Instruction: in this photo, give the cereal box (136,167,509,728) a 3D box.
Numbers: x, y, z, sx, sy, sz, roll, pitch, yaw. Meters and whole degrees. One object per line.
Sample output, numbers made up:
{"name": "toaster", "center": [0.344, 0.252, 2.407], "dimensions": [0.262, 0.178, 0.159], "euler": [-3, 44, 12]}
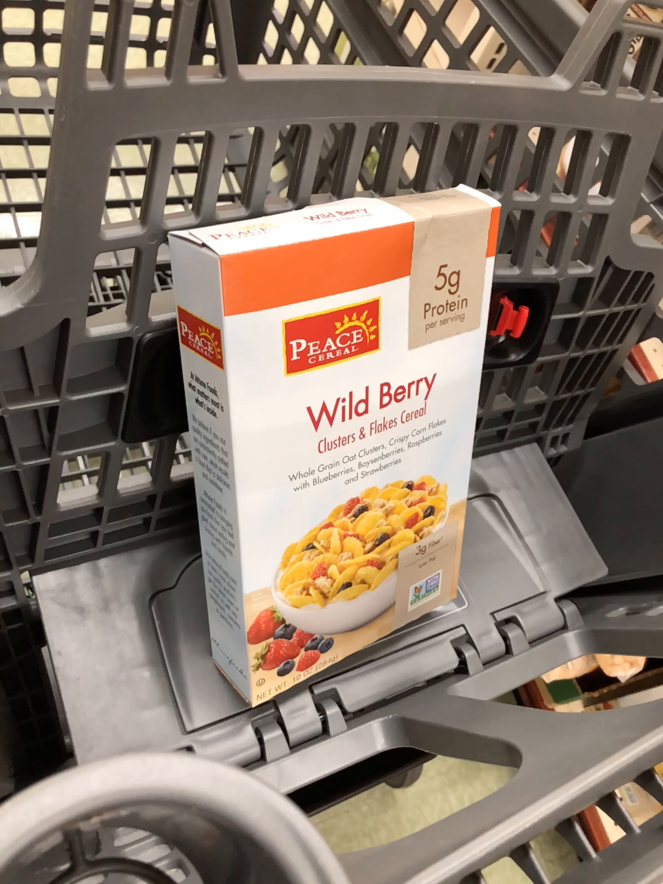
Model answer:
{"name": "cereal box", "center": [0.003, 0.004, 0.390], "dimensions": [0.160, 0.260, 0.060], "euler": [-20, 34, -30]}
